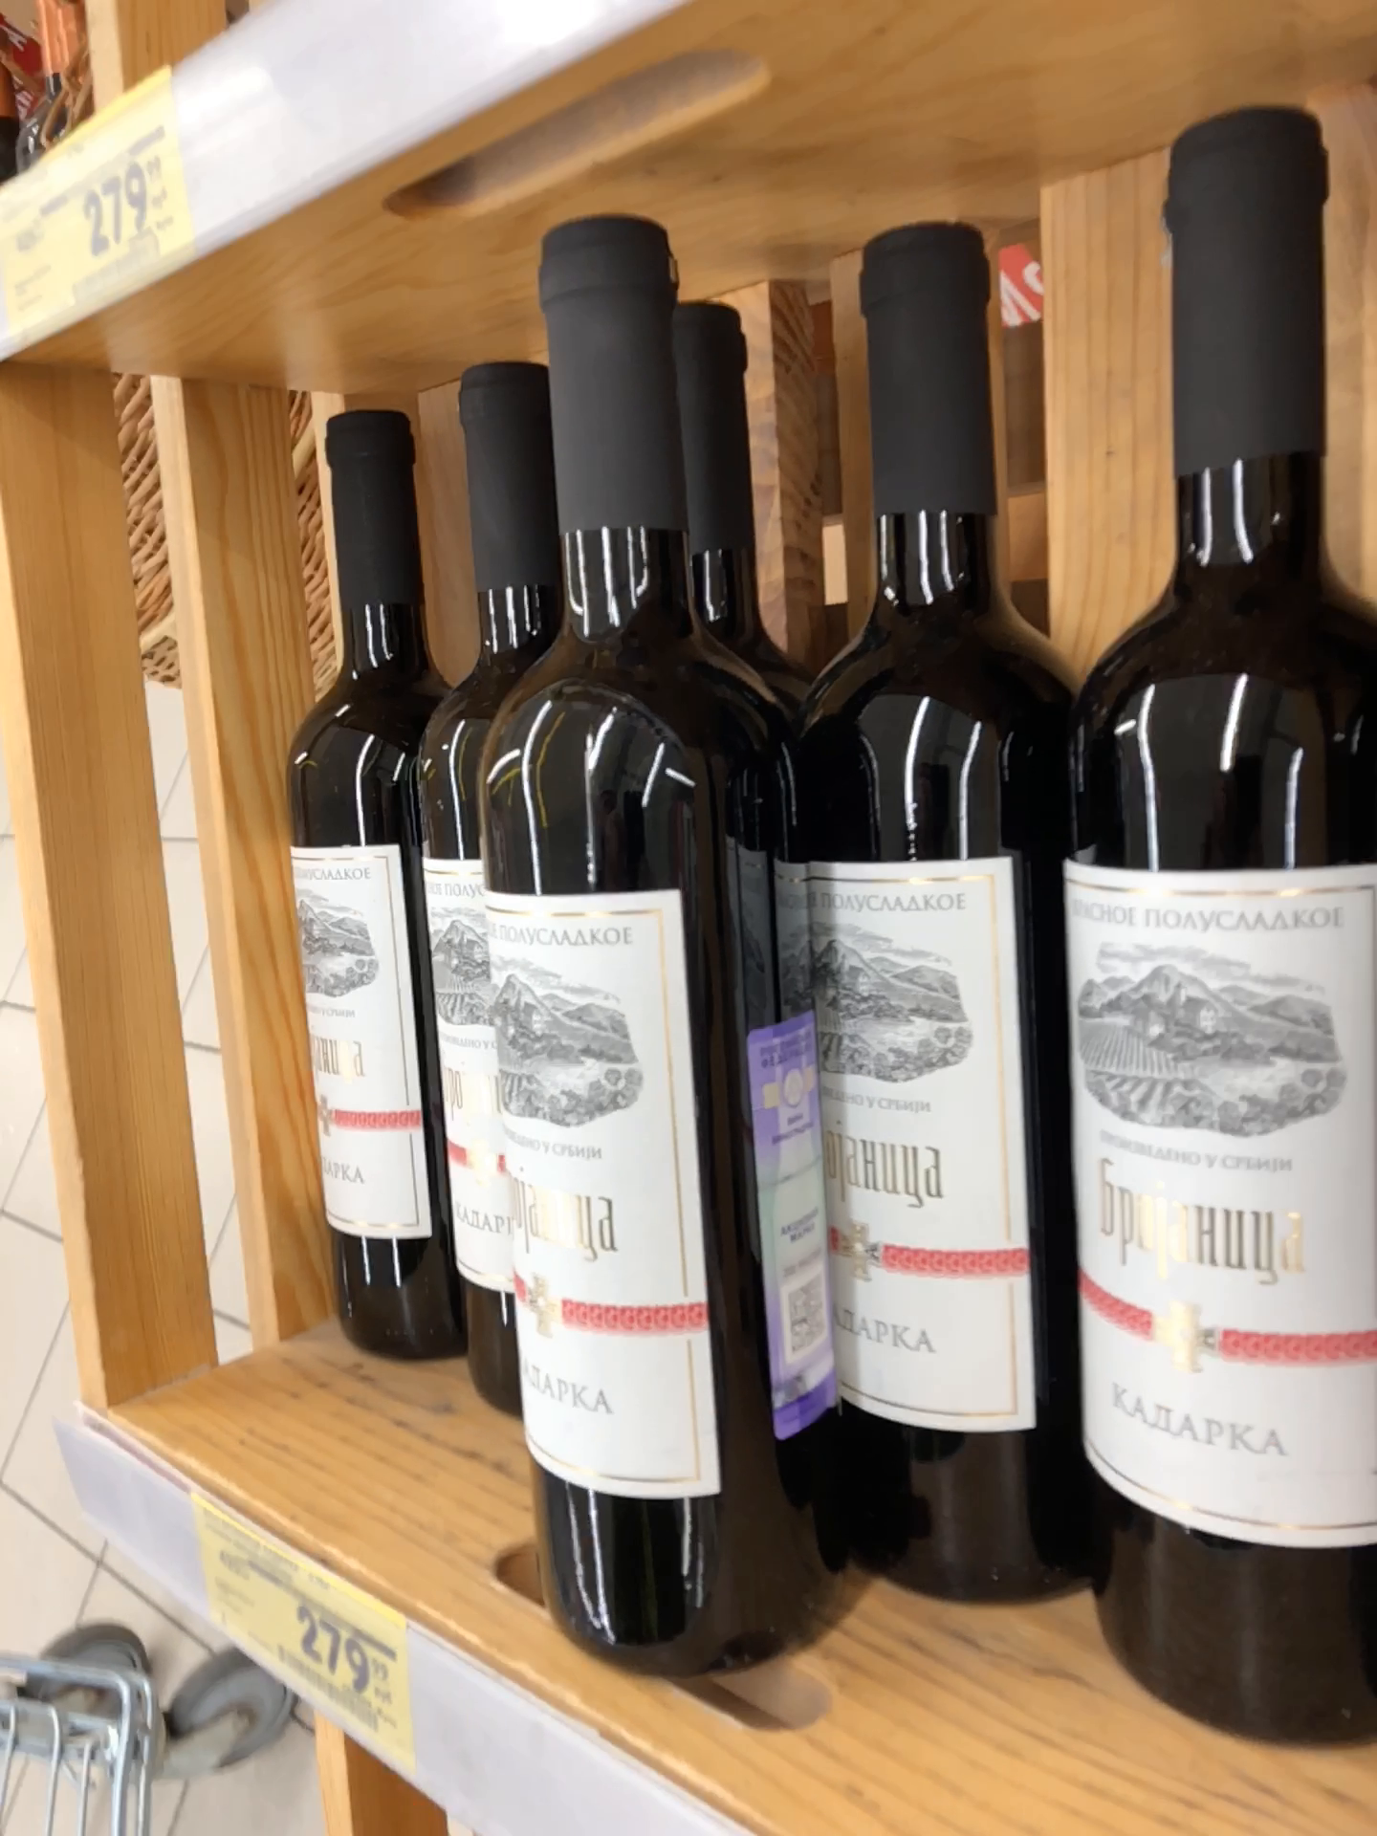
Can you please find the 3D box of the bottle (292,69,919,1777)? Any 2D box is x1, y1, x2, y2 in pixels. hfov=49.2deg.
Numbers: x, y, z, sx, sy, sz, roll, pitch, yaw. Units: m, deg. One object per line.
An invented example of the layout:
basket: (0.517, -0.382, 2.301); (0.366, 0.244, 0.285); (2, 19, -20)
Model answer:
bottle: (-0.014, 0.005, 0.325); (0.080, 0.080, 0.309); (5, 102, 46)
